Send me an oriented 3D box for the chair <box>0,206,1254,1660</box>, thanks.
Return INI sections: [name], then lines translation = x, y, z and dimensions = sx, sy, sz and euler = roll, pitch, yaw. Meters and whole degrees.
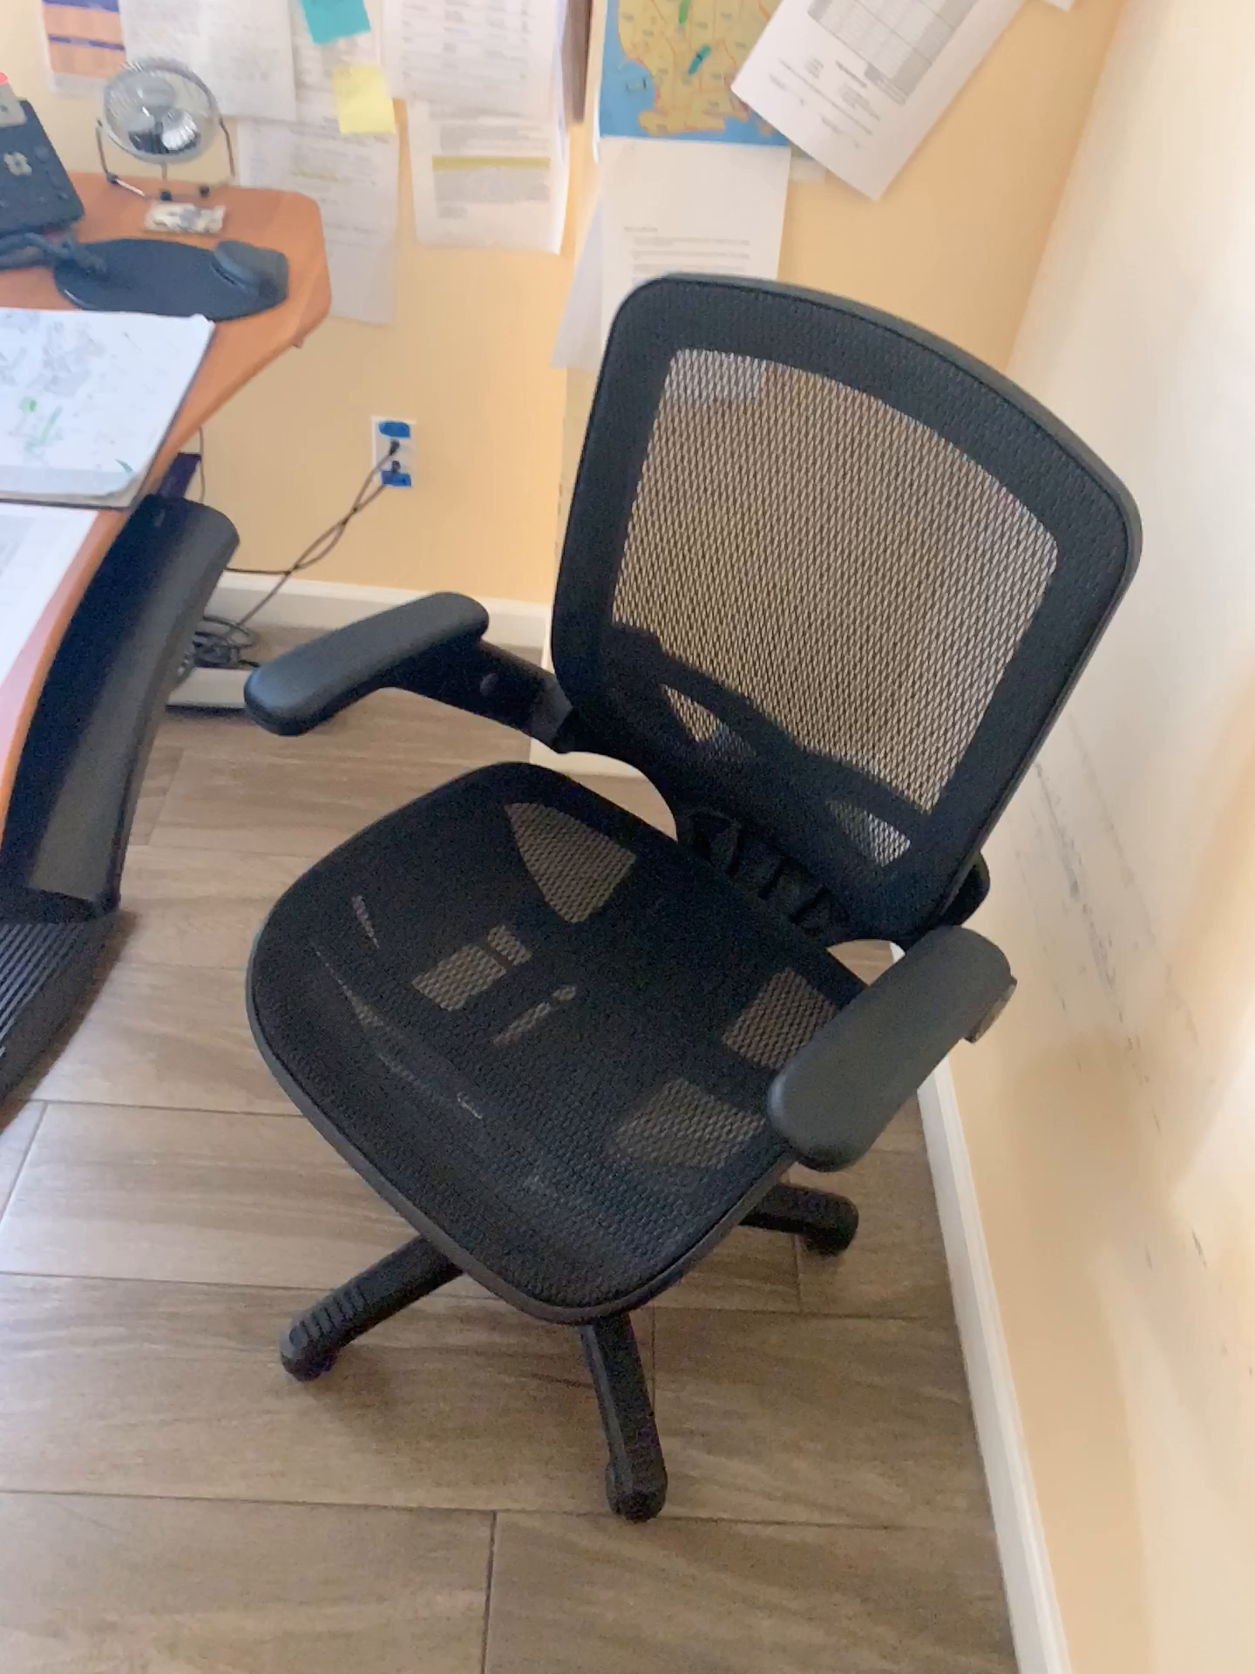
[chair]
translation = -0.007, 0.070, 1.161
dimensions = 0.640, 0.869, 0.775
euler = 35, 51, 22
